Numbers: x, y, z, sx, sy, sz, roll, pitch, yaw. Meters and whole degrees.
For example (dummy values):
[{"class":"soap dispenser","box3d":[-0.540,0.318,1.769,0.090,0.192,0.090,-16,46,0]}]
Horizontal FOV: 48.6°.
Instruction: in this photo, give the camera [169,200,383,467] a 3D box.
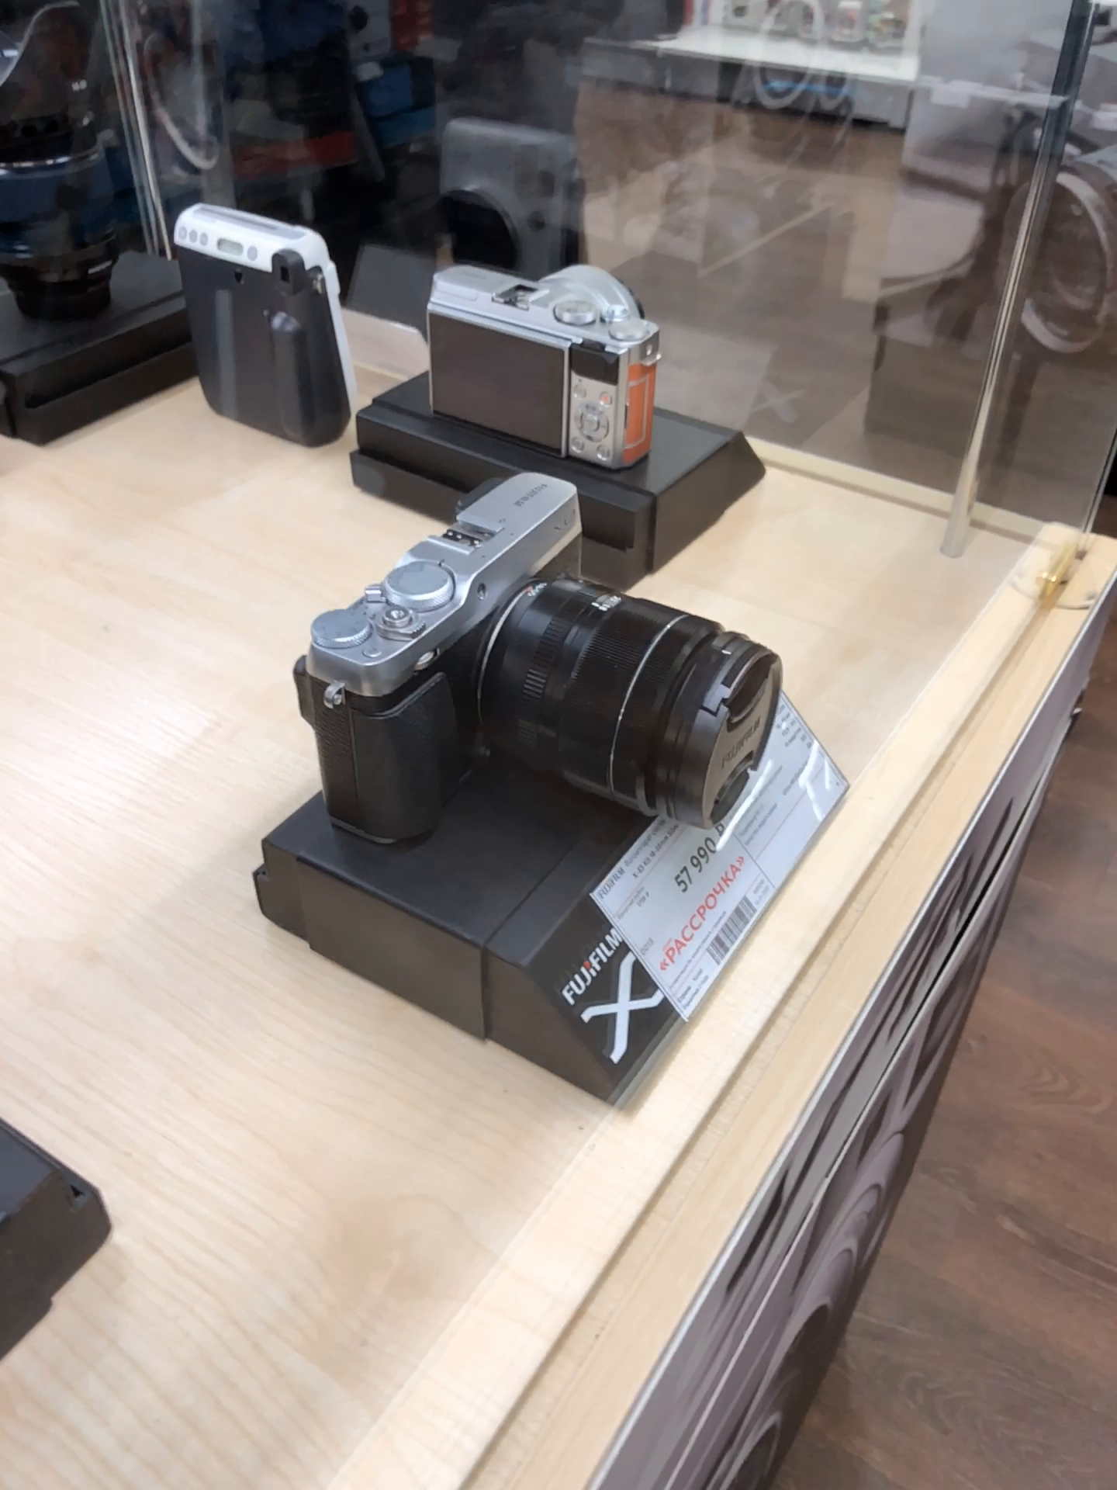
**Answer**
[{"class":"camera","box3d":[-0.146,-0.216,0.652,0.088,0.109,0.045,24,47,26]}]

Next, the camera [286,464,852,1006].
[{"class":"camera","box3d":[0.007,-0.013,0.390,0.116,0.080,0.132,22,43,24]}]

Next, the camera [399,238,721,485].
[{"class":"camera","box3d":[0.000,-0.190,0.604,0.131,0.068,0.077,23,44,25]}]
